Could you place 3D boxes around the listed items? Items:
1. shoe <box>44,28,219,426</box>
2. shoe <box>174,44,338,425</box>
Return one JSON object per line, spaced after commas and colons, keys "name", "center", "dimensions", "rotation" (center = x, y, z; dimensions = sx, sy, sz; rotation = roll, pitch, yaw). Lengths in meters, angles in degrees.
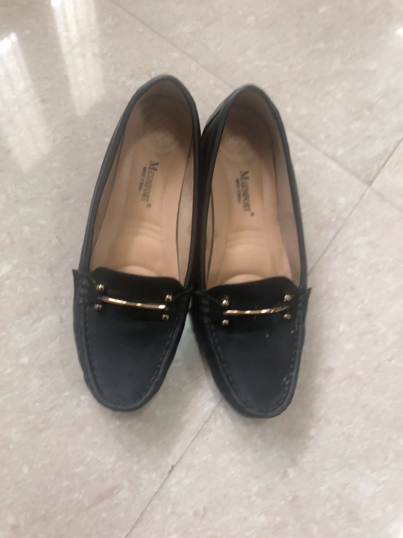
{"name": "shoe", "center": [-0.049, -0.037, 0.377], "dimensions": [0.100, 0.080, 0.310], "rotation": [5, 74, -6]}
{"name": "shoe", "center": [0.035, -0.034, 0.392], "dimensions": [0.100, 0.080, 0.310], "rotation": [-1, 75, -8]}
